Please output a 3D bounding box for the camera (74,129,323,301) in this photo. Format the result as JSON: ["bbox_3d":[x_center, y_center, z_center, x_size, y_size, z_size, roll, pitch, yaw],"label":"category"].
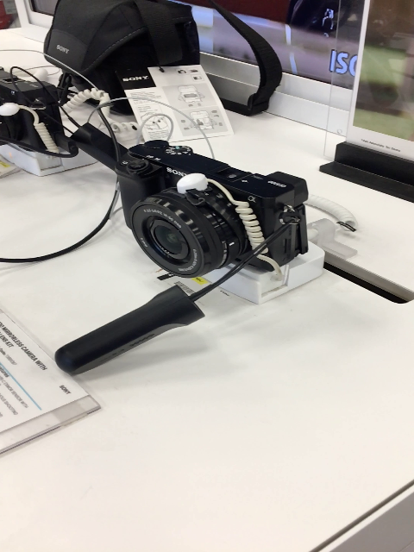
[{"bbox_3d":[-0.008,-0.048,0.380,0.084,0.064,0.128,-32,48,-31],"label":"camera"}]
